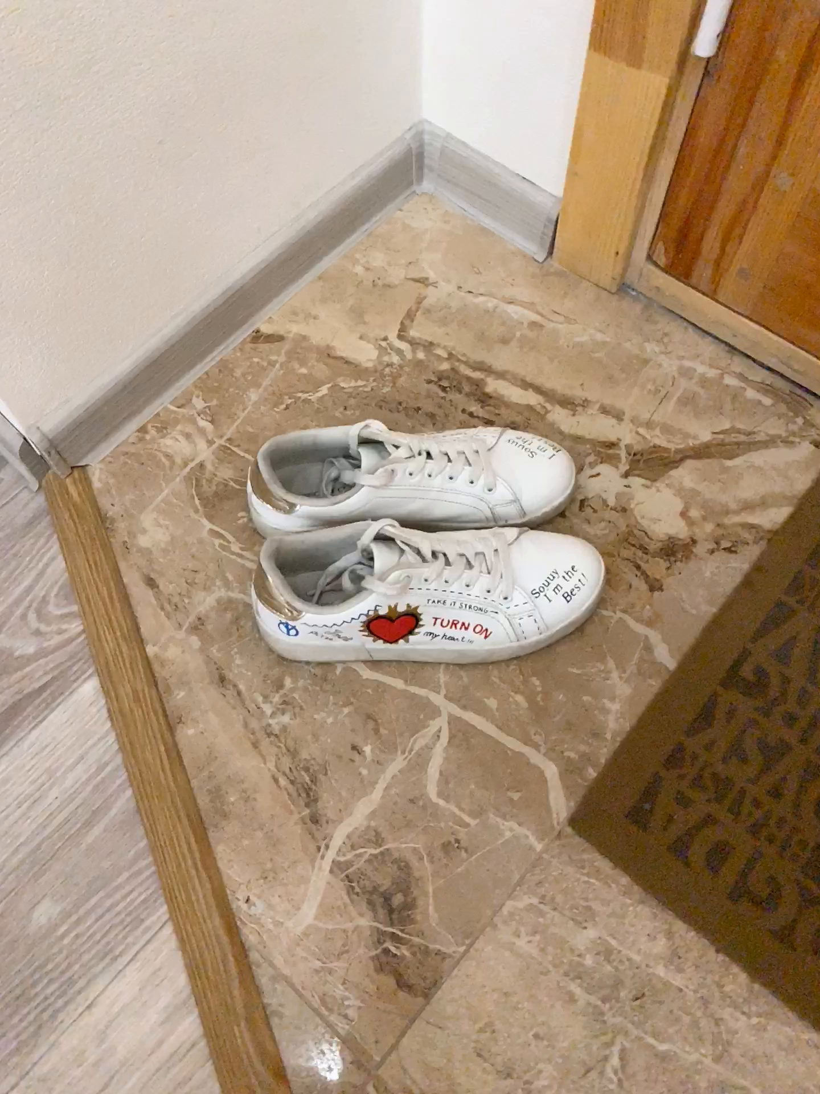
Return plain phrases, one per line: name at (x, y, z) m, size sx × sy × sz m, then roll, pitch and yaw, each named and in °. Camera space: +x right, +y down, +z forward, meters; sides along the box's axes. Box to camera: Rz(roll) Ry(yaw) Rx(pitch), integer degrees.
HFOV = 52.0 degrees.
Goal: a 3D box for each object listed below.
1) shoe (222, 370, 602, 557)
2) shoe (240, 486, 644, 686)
shoe at (-0.001, -0.060, 0.622) m, size 0.256 × 0.080 × 0.092 m, roll -4°, pitch 63°, yaw -1°
shoe at (0.017, 0.028, 0.587) m, size 0.256 × 0.080 × 0.092 m, roll -5°, pitch 63°, yaw -1°
